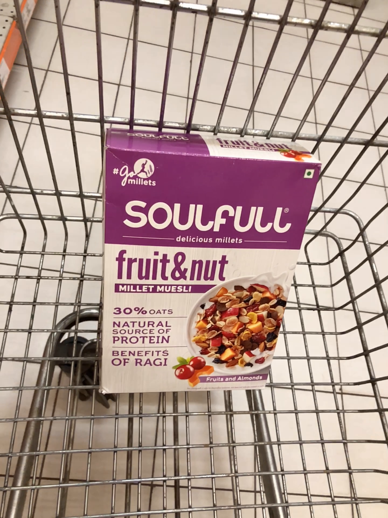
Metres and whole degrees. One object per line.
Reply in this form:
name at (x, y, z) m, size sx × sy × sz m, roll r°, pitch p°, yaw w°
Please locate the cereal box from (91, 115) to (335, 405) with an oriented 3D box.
cereal box at (-0.002, 0.012, 0.378) m, size 0.170 × 0.239 × 0.070 m, roll 1°, pitch 29°, yaw -12°
